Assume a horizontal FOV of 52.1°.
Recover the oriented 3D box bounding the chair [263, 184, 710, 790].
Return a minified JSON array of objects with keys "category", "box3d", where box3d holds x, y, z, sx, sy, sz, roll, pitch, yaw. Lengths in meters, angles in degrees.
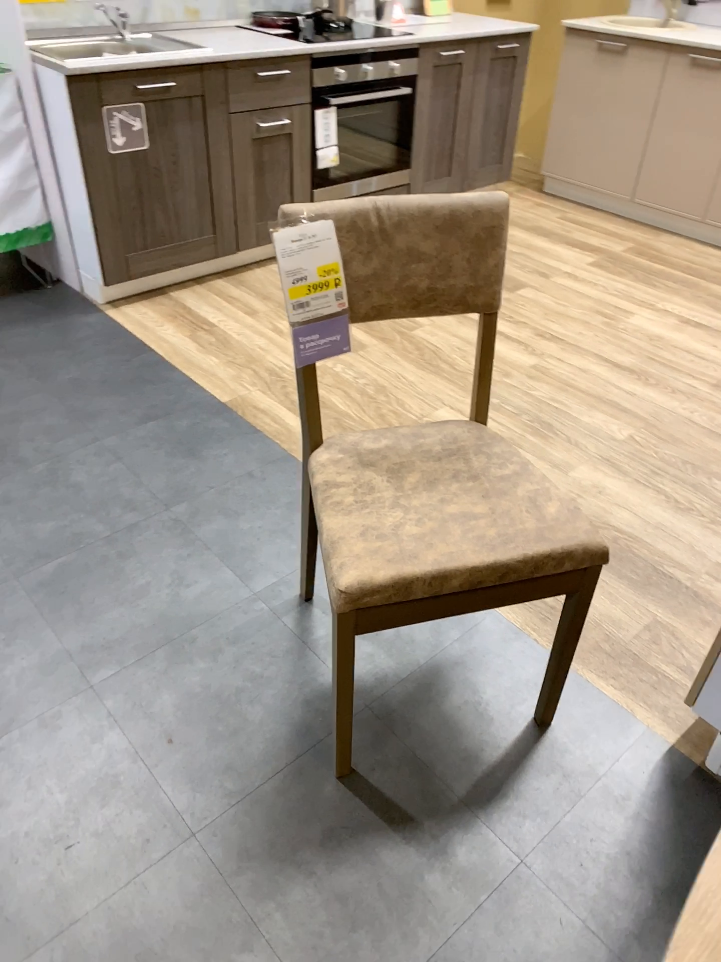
[{"category":"chair","box3d":[0.124,0.022,1.346,0.480,0.925,0.512,-8,39,-14]}]
